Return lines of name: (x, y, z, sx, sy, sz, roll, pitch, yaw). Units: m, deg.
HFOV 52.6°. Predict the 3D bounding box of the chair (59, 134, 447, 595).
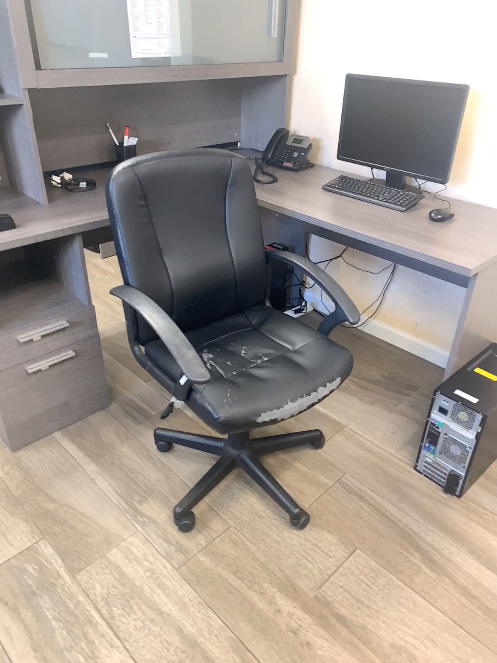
chair: (-0.015, 0.027, 1.420, 0.652, 0.945, 0.642, -22, 38, -33)
